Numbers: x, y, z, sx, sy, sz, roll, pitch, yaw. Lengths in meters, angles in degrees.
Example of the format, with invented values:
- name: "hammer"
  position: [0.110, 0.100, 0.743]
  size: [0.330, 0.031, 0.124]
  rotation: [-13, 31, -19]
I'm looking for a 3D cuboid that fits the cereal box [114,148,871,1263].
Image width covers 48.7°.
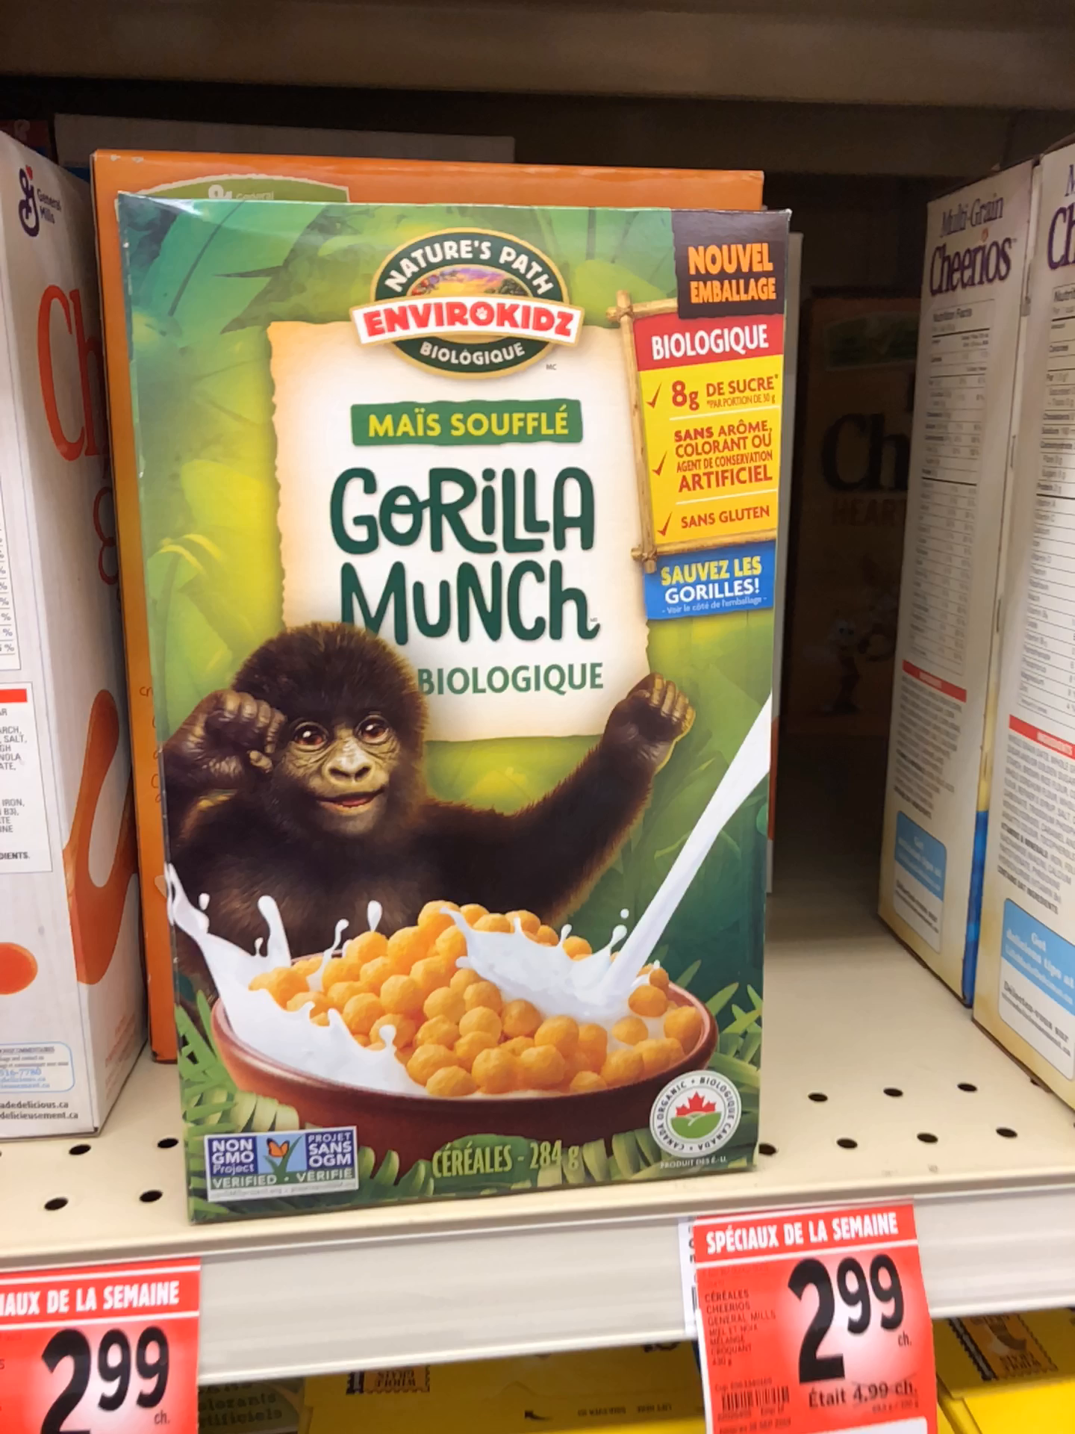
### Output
- name: "cereal box"
  position: [-0.010, 0.001, 0.309]
  size: [0.160, 0.259, 0.060]
  rotation: [-2, 14, -9]
